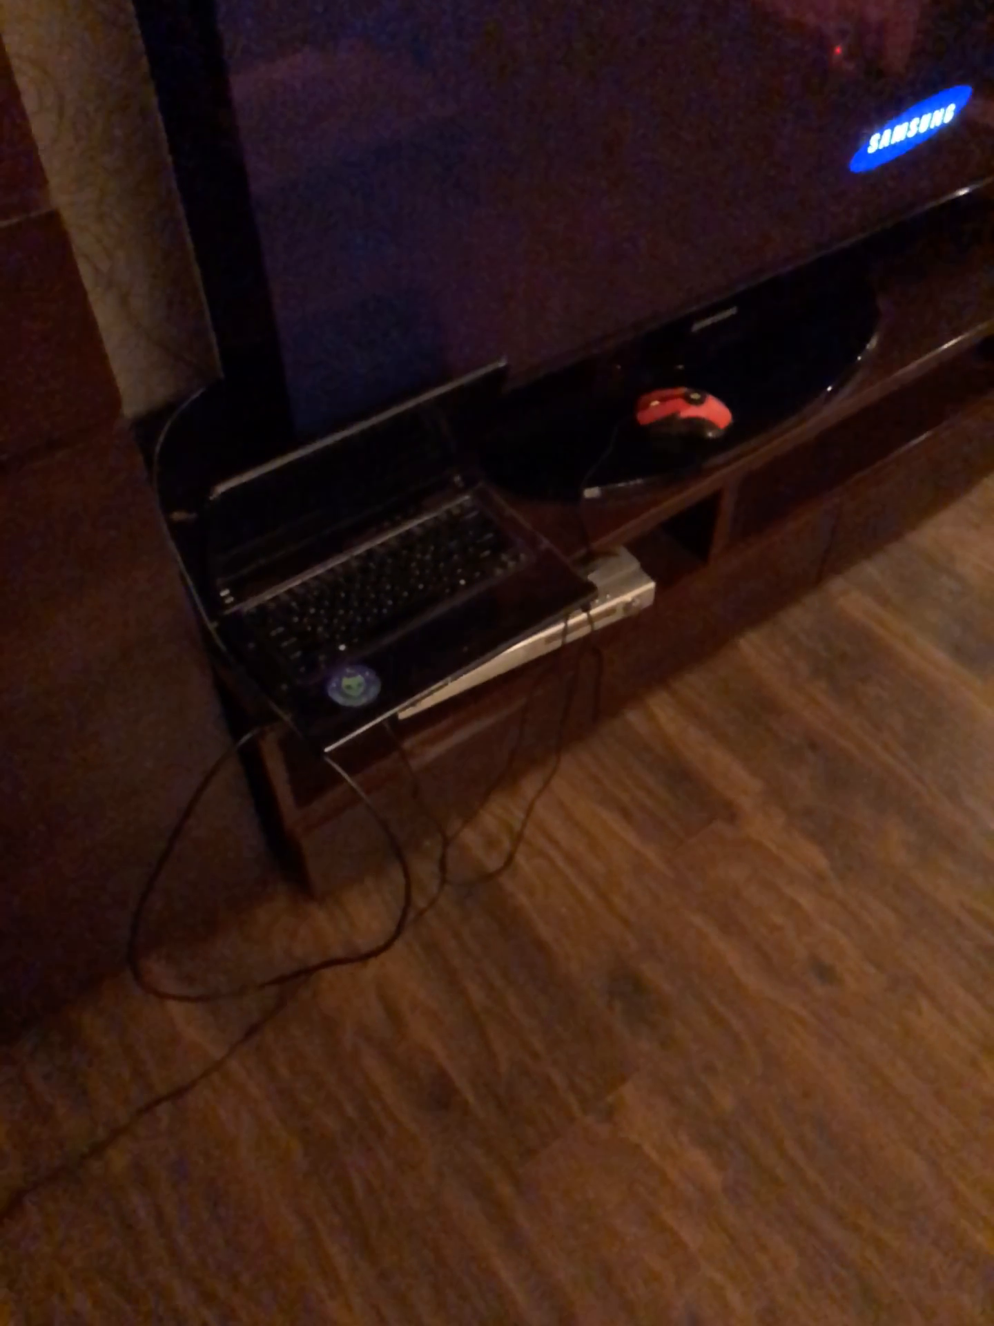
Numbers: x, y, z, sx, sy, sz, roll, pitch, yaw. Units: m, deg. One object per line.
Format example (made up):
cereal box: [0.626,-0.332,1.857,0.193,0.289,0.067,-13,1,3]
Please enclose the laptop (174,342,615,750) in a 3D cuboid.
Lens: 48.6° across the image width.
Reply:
laptop: [-0.087,-0.120,1.042,0.336,0.183,0.200,-31,57,-24]
